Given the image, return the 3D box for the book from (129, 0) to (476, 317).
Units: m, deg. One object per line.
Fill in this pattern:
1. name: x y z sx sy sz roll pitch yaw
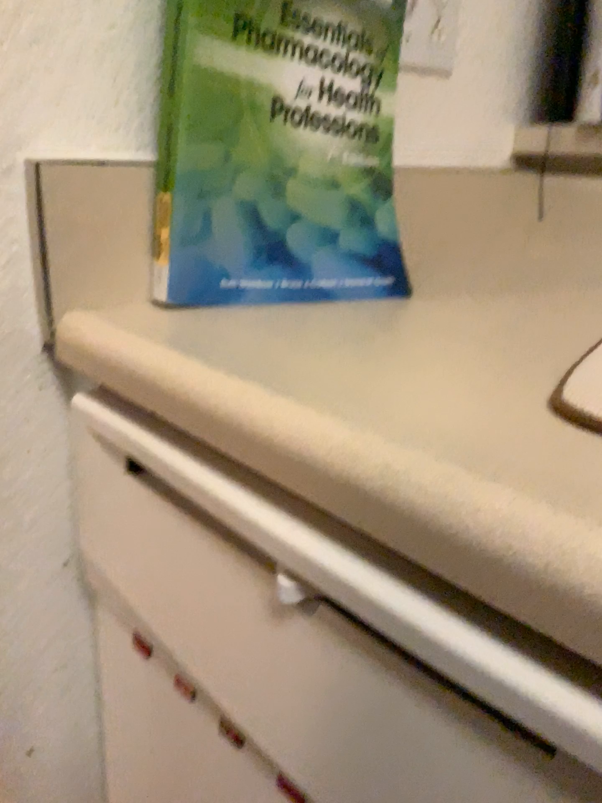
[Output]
1. book: 0.001 -0.214 0.521 0.240 0.270 0.090 -9 22 -36
